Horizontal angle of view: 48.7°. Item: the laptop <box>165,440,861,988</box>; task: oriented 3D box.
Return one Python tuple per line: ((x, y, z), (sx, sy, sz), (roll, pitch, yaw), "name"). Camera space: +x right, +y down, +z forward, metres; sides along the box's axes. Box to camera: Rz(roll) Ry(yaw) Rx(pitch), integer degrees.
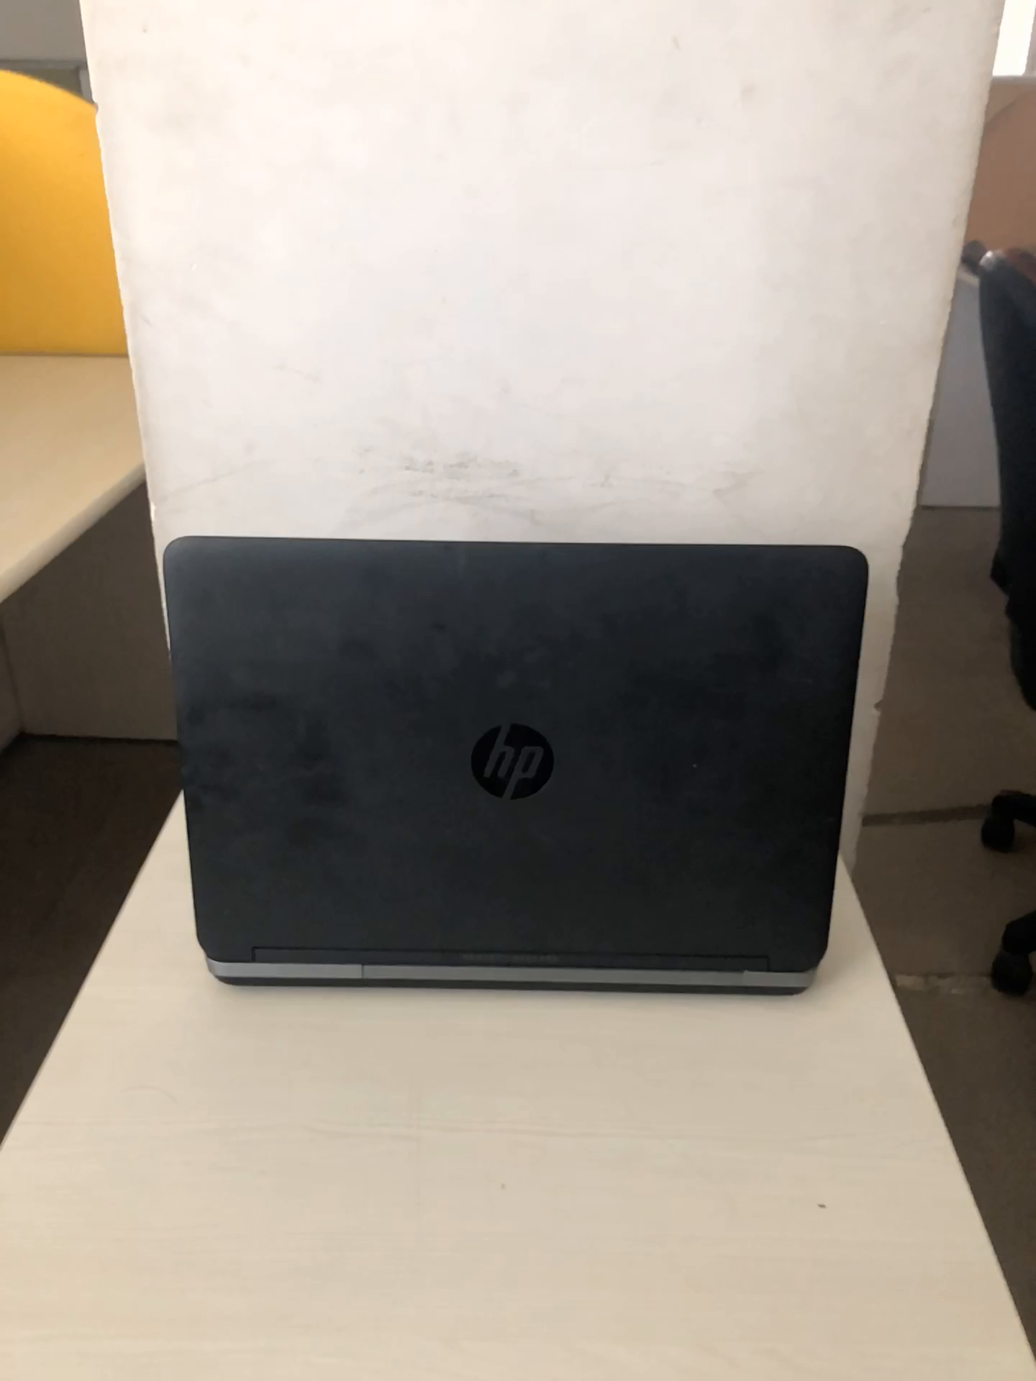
((0.000, 0.005, 0.660), (0.317, 0.226, 0.205), (1, 29, 1), "laptop")
